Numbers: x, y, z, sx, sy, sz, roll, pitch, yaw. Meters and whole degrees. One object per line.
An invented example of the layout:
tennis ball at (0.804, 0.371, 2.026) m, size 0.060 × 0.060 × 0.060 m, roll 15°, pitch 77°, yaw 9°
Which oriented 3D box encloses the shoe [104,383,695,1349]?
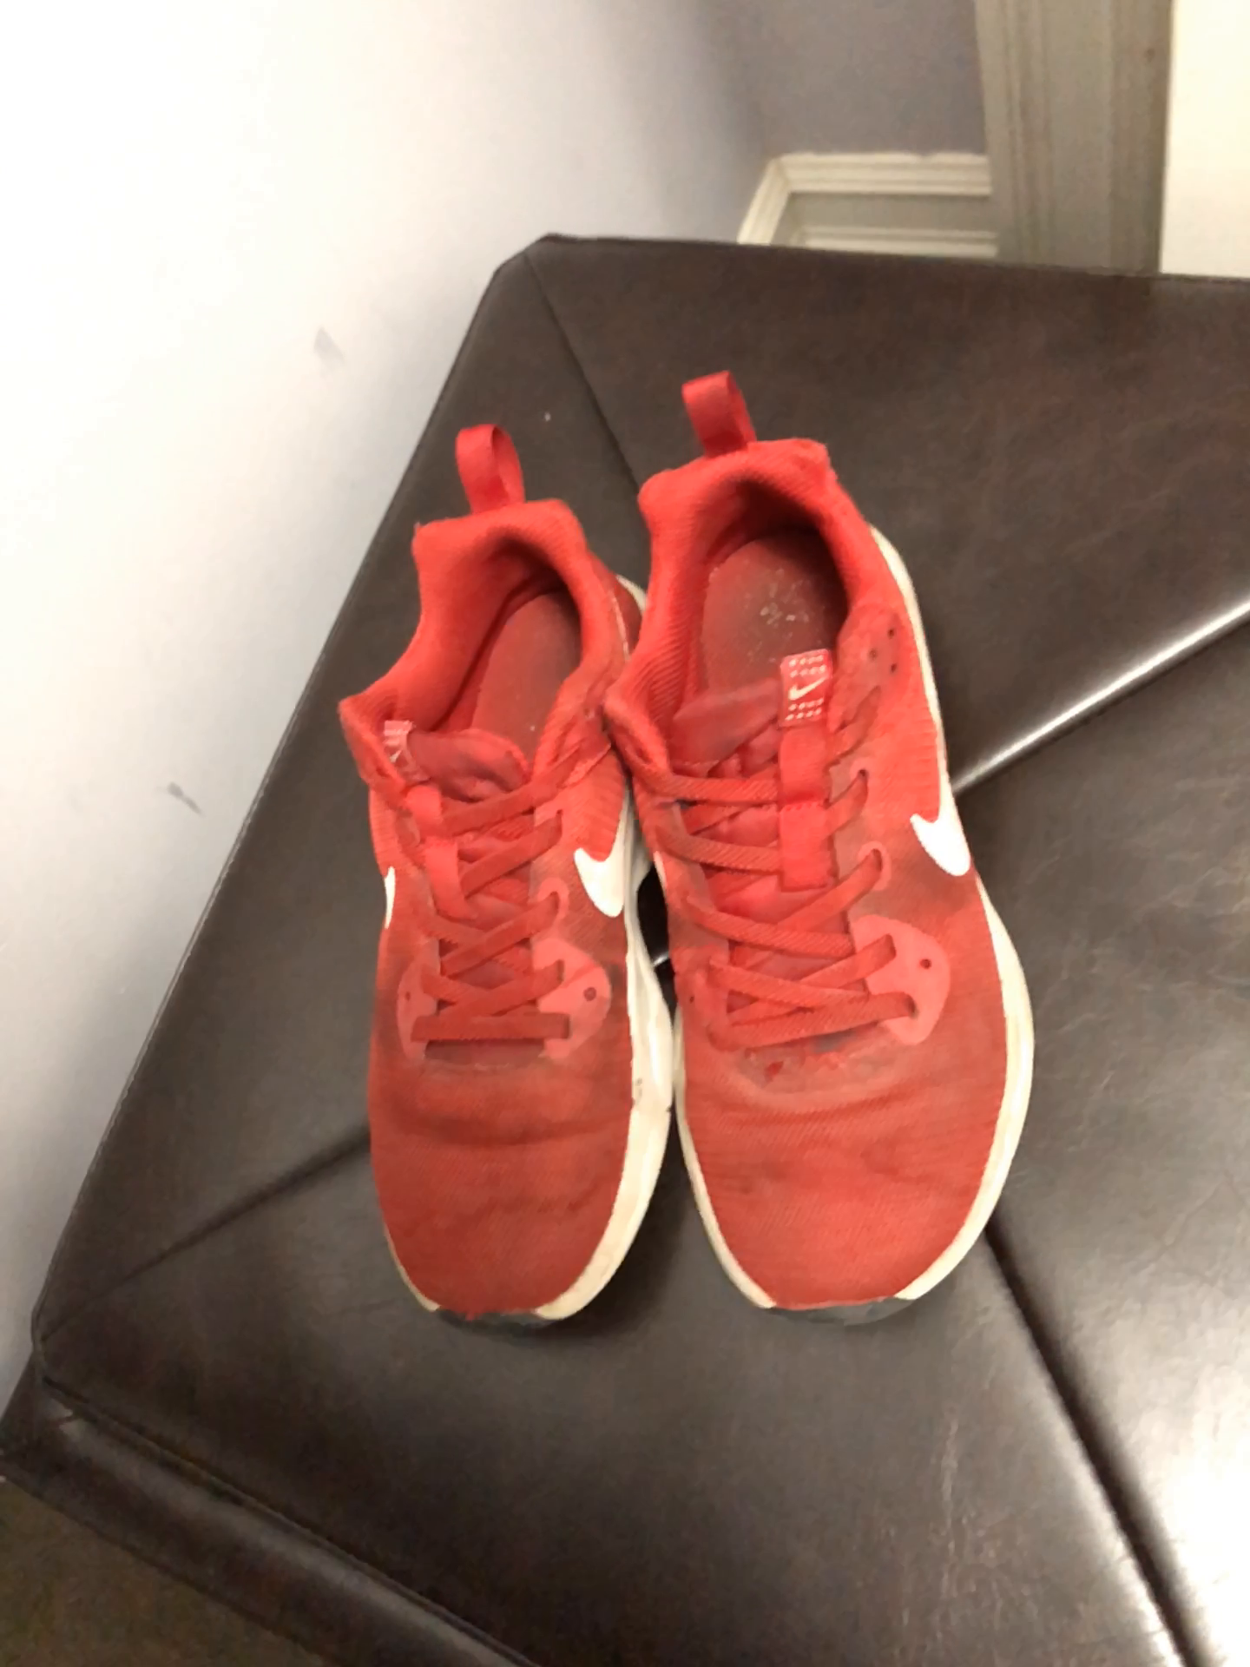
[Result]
shoe at (-0.046, 0.012, 0.365) m, size 0.095 × 0.100 × 0.220 m, roll -2°, pitch 72°, yaw 18°

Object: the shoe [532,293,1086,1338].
shoe at (0.044, 0.002, 0.340) m, size 0.095 × 0.100 × 0.220 m, roll -9°, pitch 70°, yaw 15°
